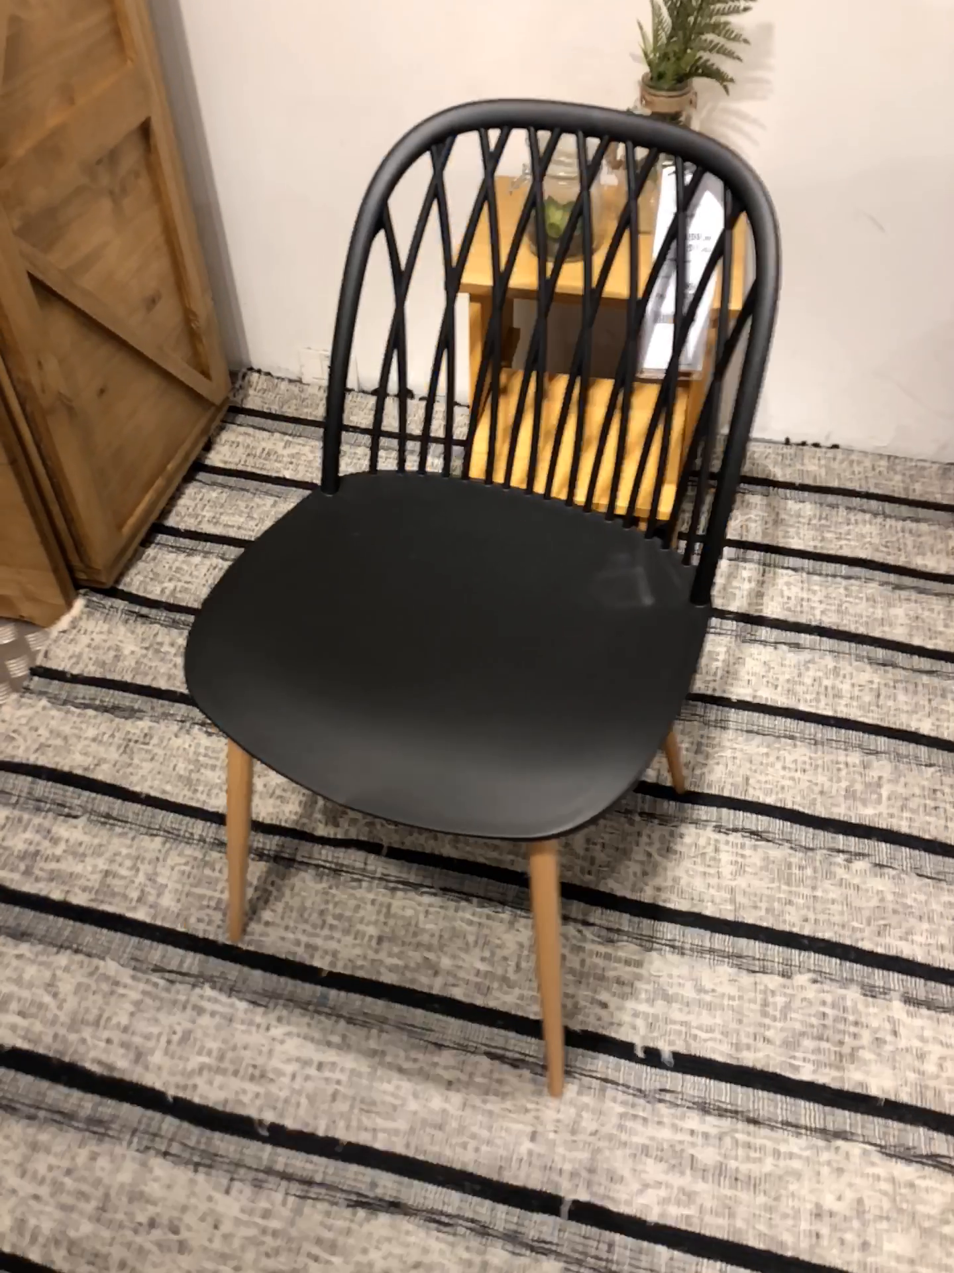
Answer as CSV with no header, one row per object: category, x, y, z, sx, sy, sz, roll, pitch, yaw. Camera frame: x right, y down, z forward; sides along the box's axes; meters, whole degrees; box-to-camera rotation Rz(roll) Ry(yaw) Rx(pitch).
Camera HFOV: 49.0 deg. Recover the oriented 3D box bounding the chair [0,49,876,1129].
chair,-0.008,-0.028,1.007,0.470,0.774,0.544,18,49,18
